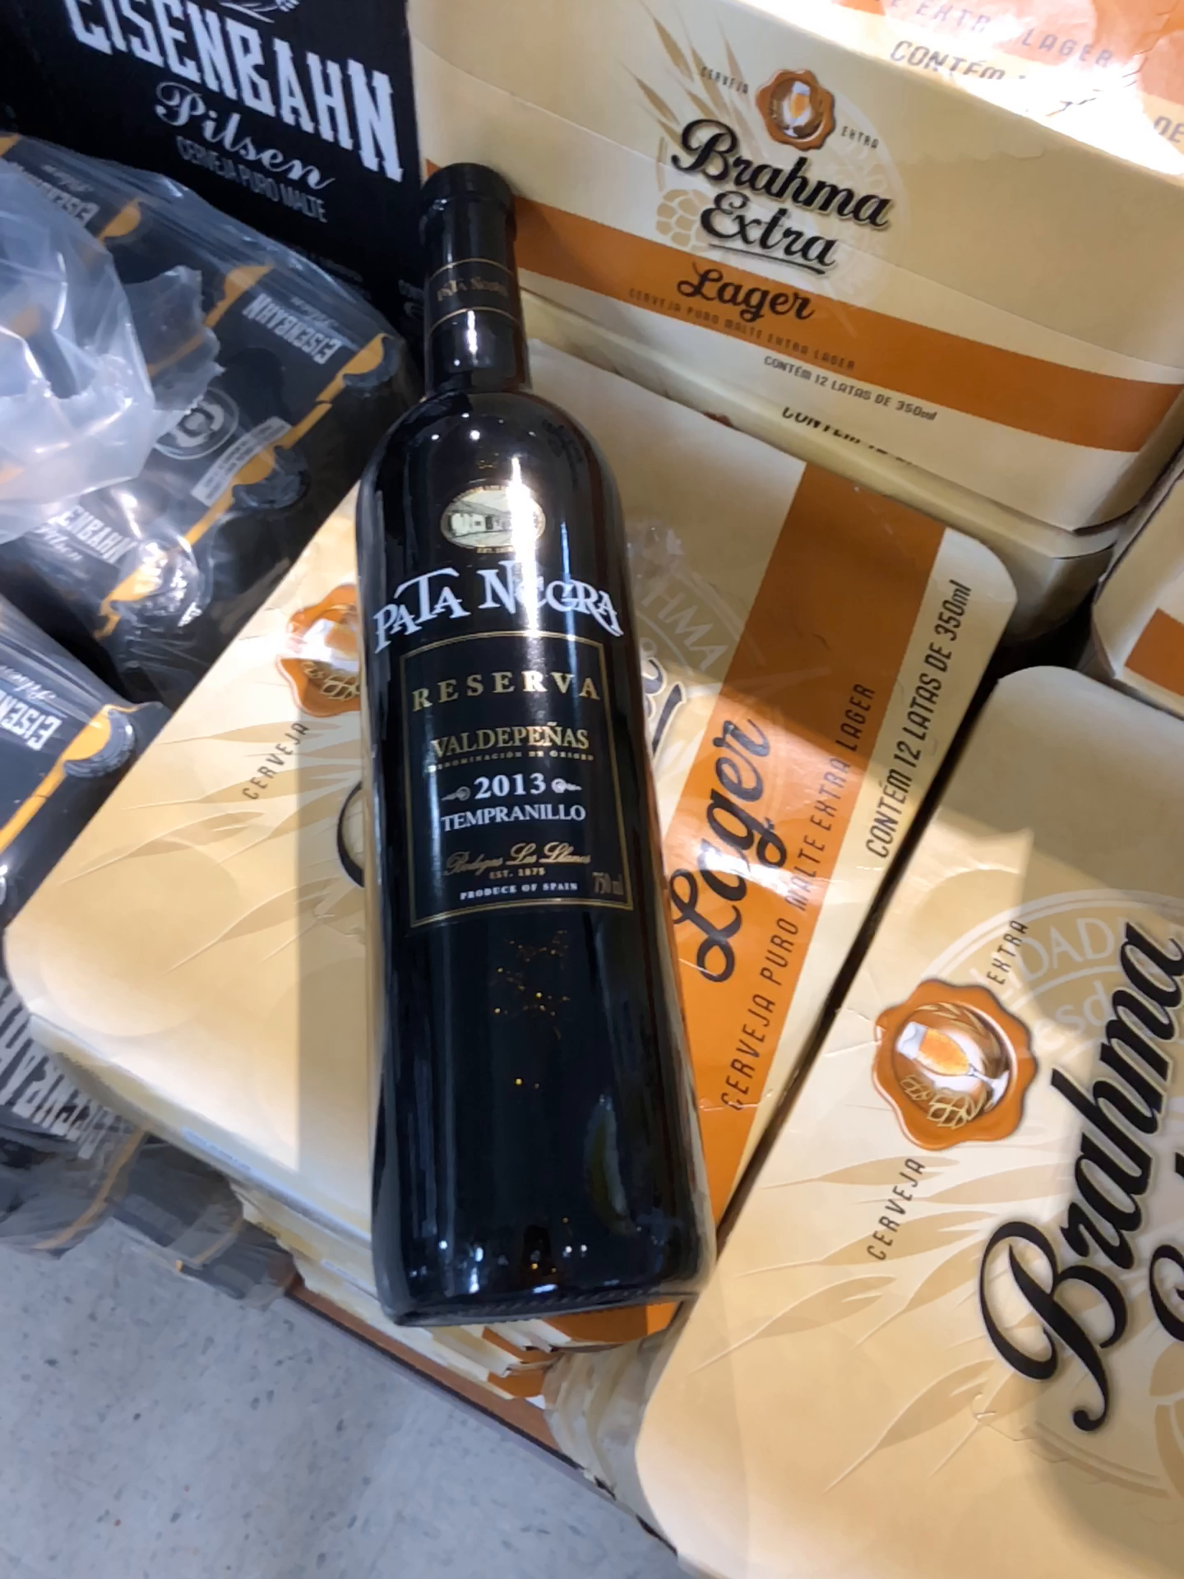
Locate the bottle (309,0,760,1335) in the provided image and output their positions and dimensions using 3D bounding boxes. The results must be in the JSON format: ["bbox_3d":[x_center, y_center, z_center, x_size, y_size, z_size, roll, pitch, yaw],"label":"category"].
[{"bbox_3d":[-0.028,-0.065,0.349,0.080,0.080,0.381,-4,66,-4],"label":"bottle"}]
